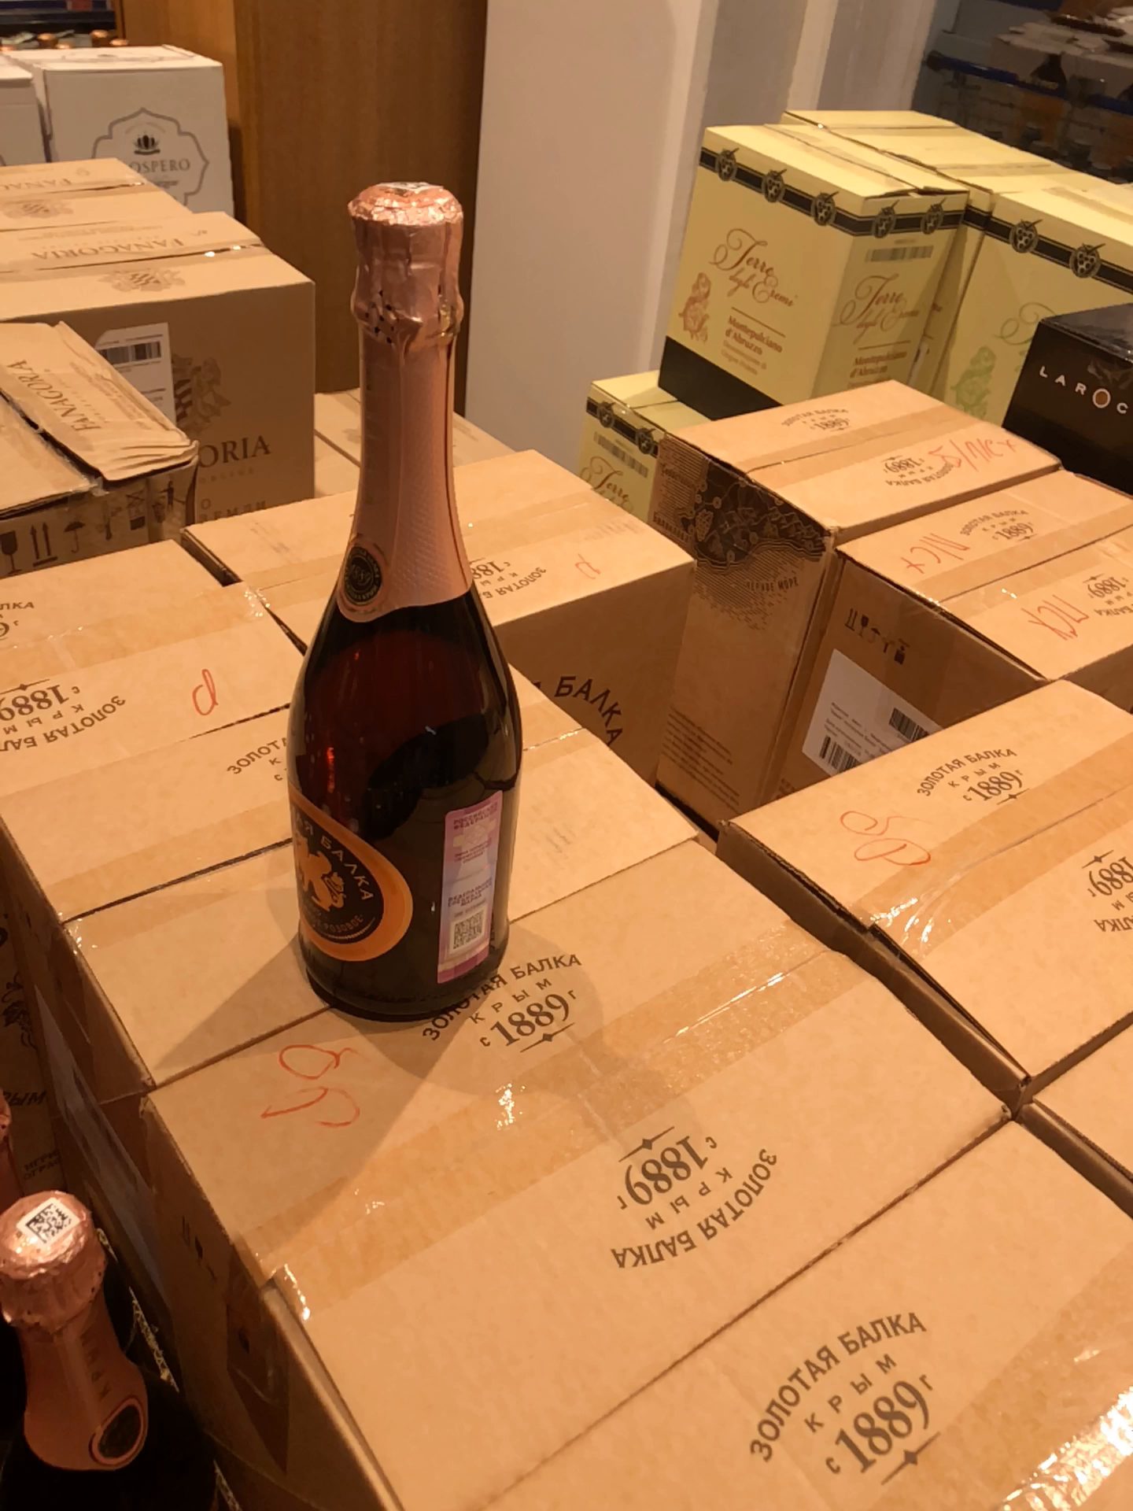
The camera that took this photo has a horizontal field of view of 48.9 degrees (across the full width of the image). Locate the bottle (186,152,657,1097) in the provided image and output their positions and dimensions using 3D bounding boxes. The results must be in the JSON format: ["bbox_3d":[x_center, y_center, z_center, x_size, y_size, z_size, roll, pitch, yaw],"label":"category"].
[{"bbox_3d":[-0.057,-0.032,0.440,0.090,0.308,0.100,-23,46,-34],"label":"bottle"}]
